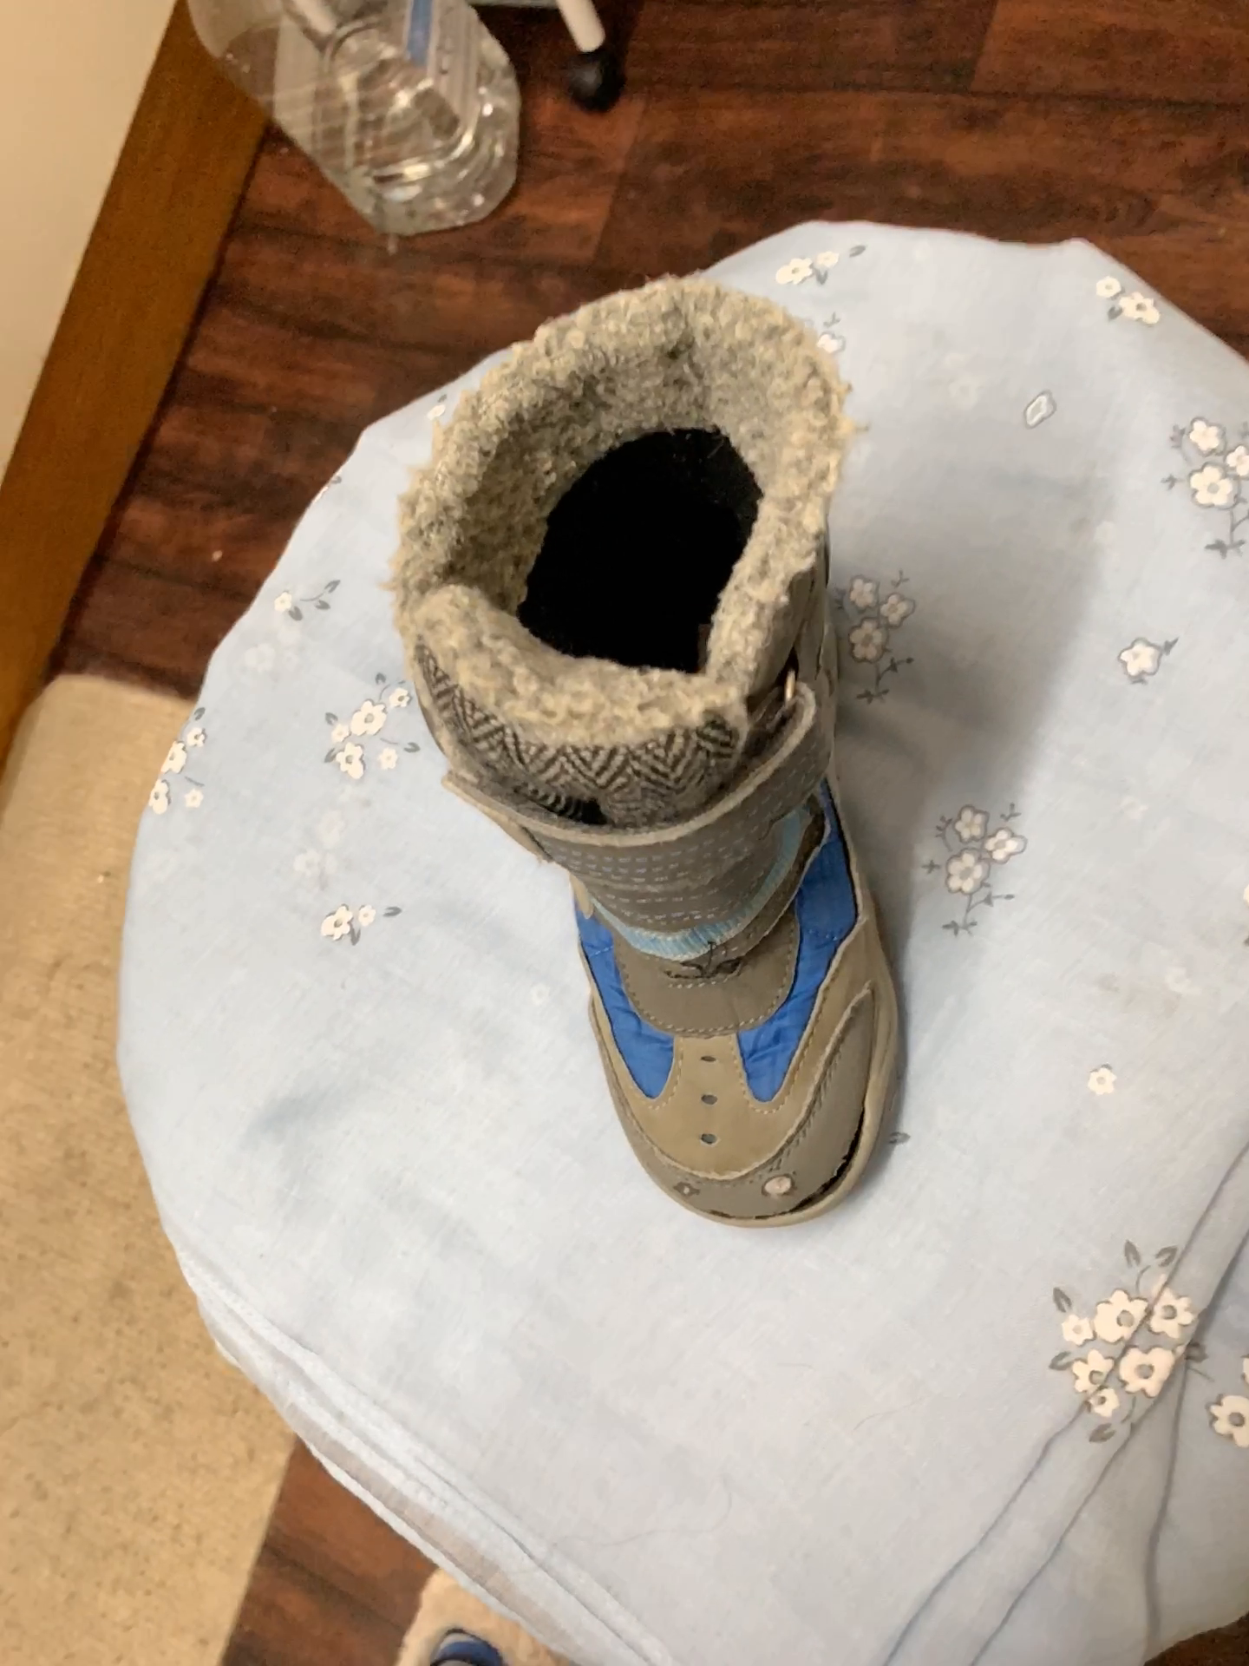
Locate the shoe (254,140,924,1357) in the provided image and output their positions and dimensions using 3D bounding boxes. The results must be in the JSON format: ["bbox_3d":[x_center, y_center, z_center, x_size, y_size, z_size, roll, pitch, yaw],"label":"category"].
[{"bbox_3d":[0.009,-0.005,0.293,0.090,0.160,0.200,-4,78,20],"label":"shoe"}]
